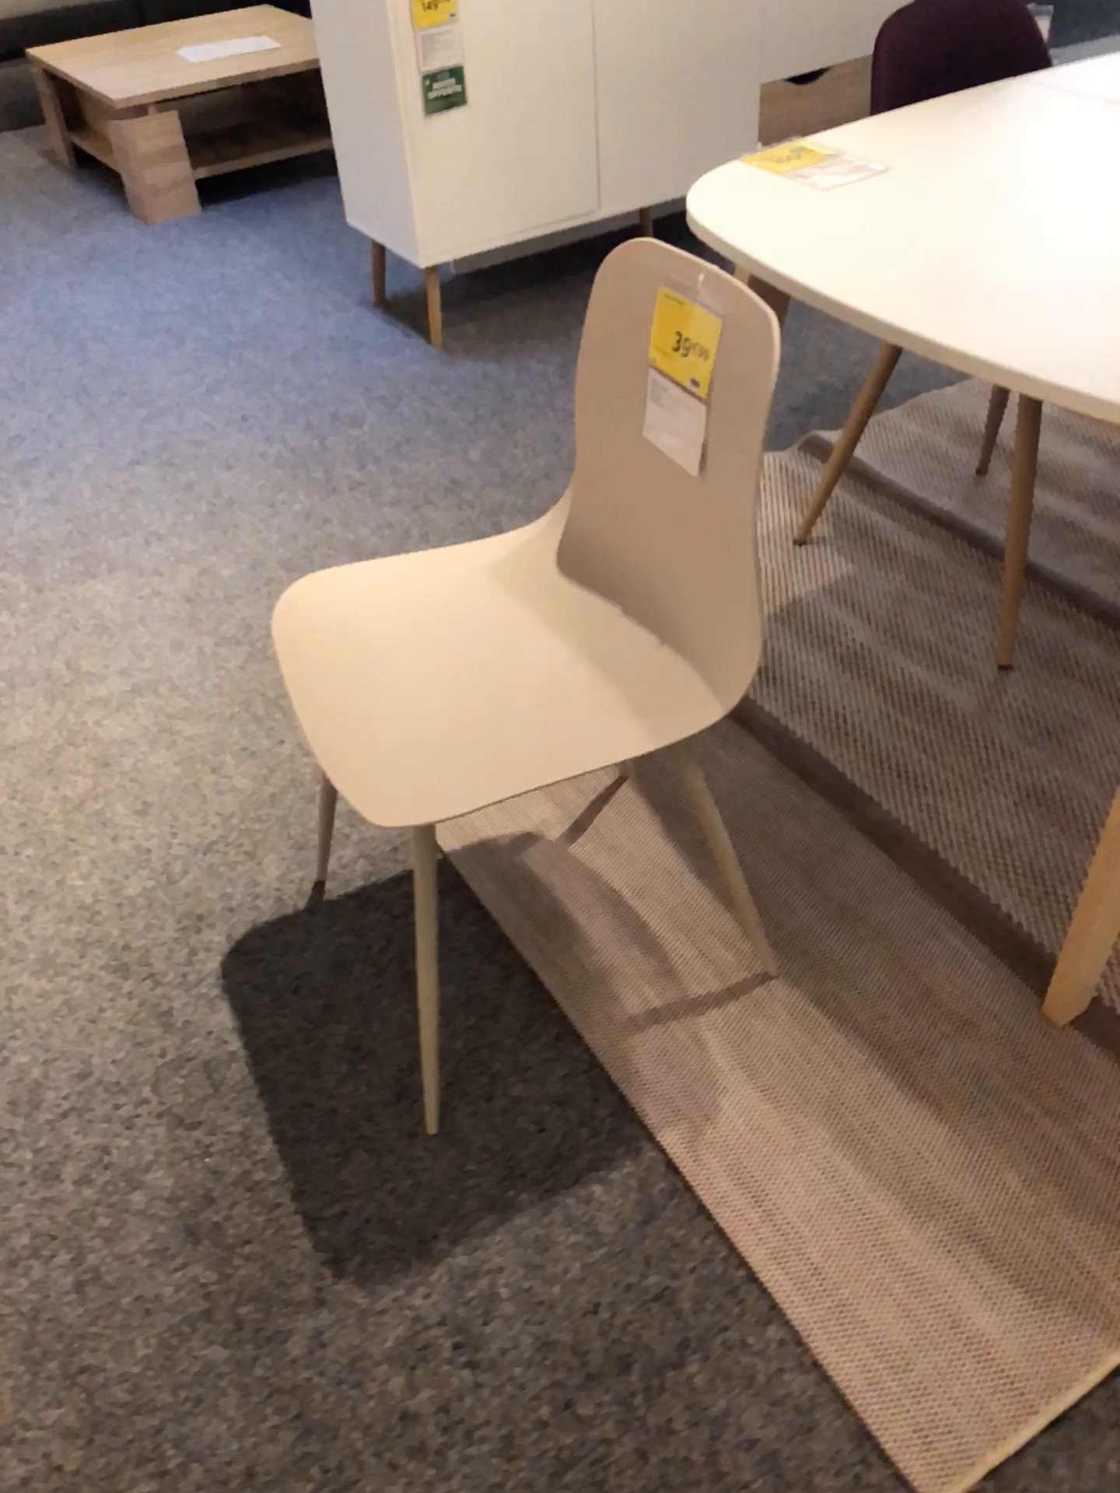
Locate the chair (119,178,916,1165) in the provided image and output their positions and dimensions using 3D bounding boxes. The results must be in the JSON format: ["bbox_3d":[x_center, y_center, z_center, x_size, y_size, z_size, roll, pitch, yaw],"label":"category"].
[{"bbox_3d":[-0.042,-0.079,1.284,0.501,0.766,0.501,-22,44,-19],"label":"chair"}]
